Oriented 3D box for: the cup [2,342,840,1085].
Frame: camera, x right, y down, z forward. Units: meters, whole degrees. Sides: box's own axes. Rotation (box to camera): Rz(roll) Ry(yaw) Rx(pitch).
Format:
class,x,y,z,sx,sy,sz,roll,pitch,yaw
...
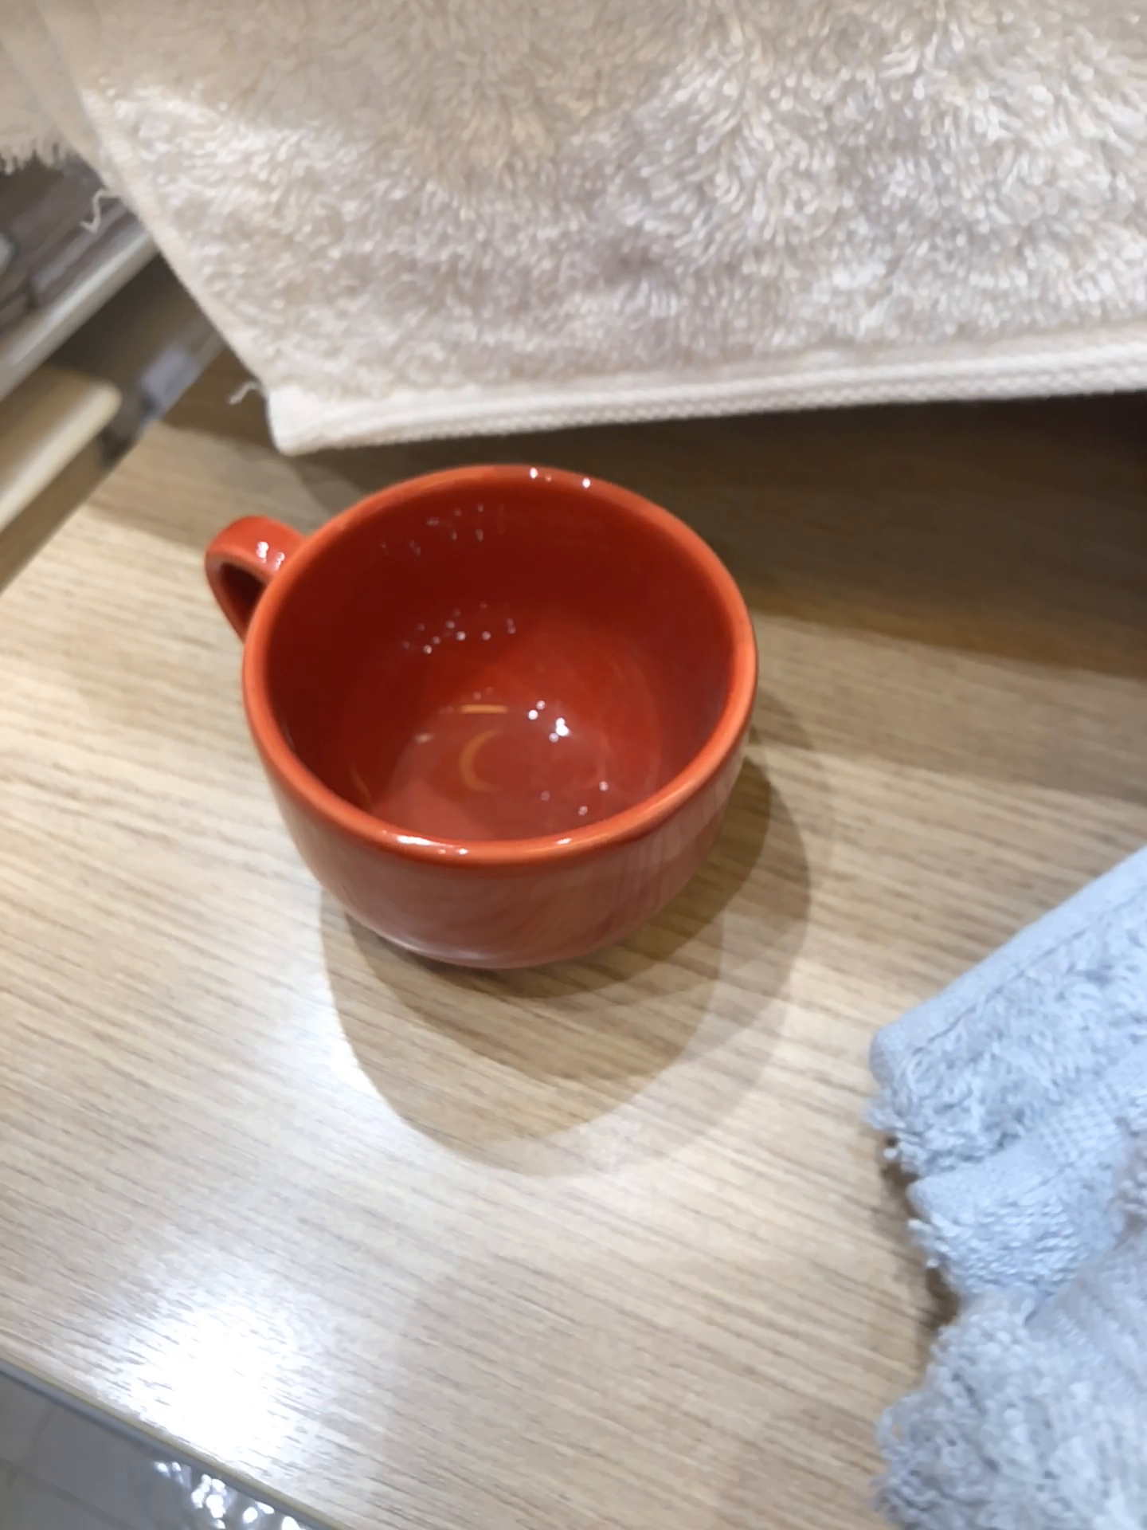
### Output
class,x,y,z,sx,sy,sz,roll,pitch,yaw
cup,-0.021,-0.013,0.218,0.100,0.050,0.080,25,58,16
